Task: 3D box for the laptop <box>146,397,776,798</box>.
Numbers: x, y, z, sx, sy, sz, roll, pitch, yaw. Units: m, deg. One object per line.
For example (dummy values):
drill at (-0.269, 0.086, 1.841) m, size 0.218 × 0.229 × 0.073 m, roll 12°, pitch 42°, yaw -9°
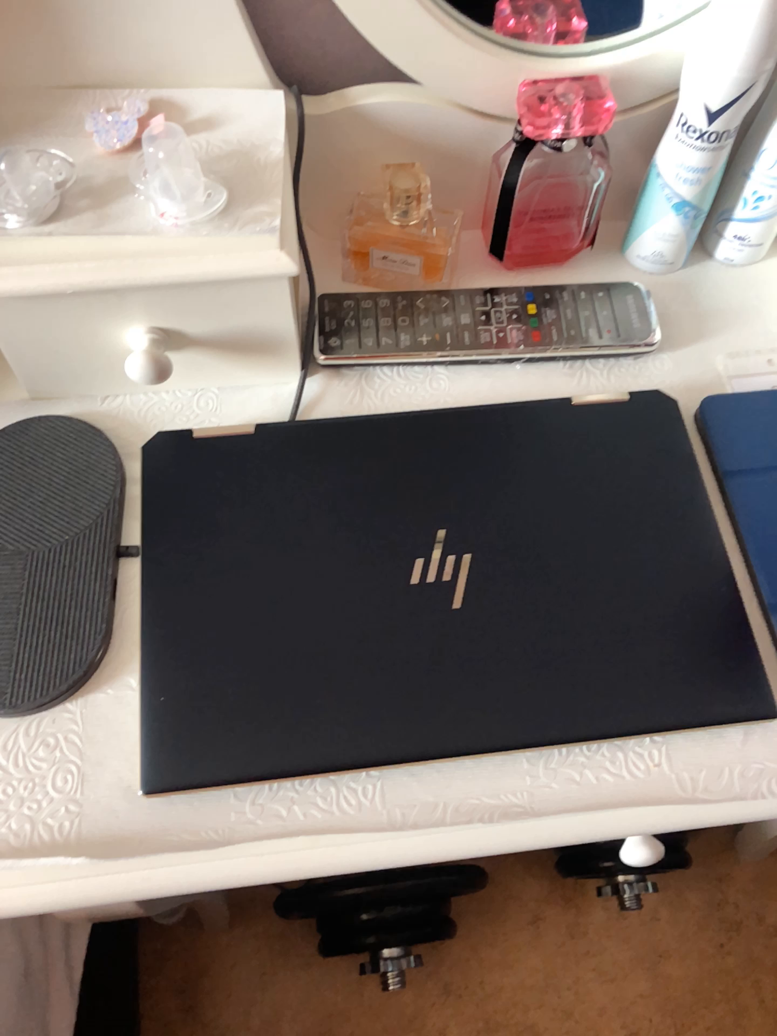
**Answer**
laptop at (0.031, 0.024, 0.388) m, size 0.267 × 0.007 × 0.161 m, roll -5°, pitch 66°, yaw -11°
